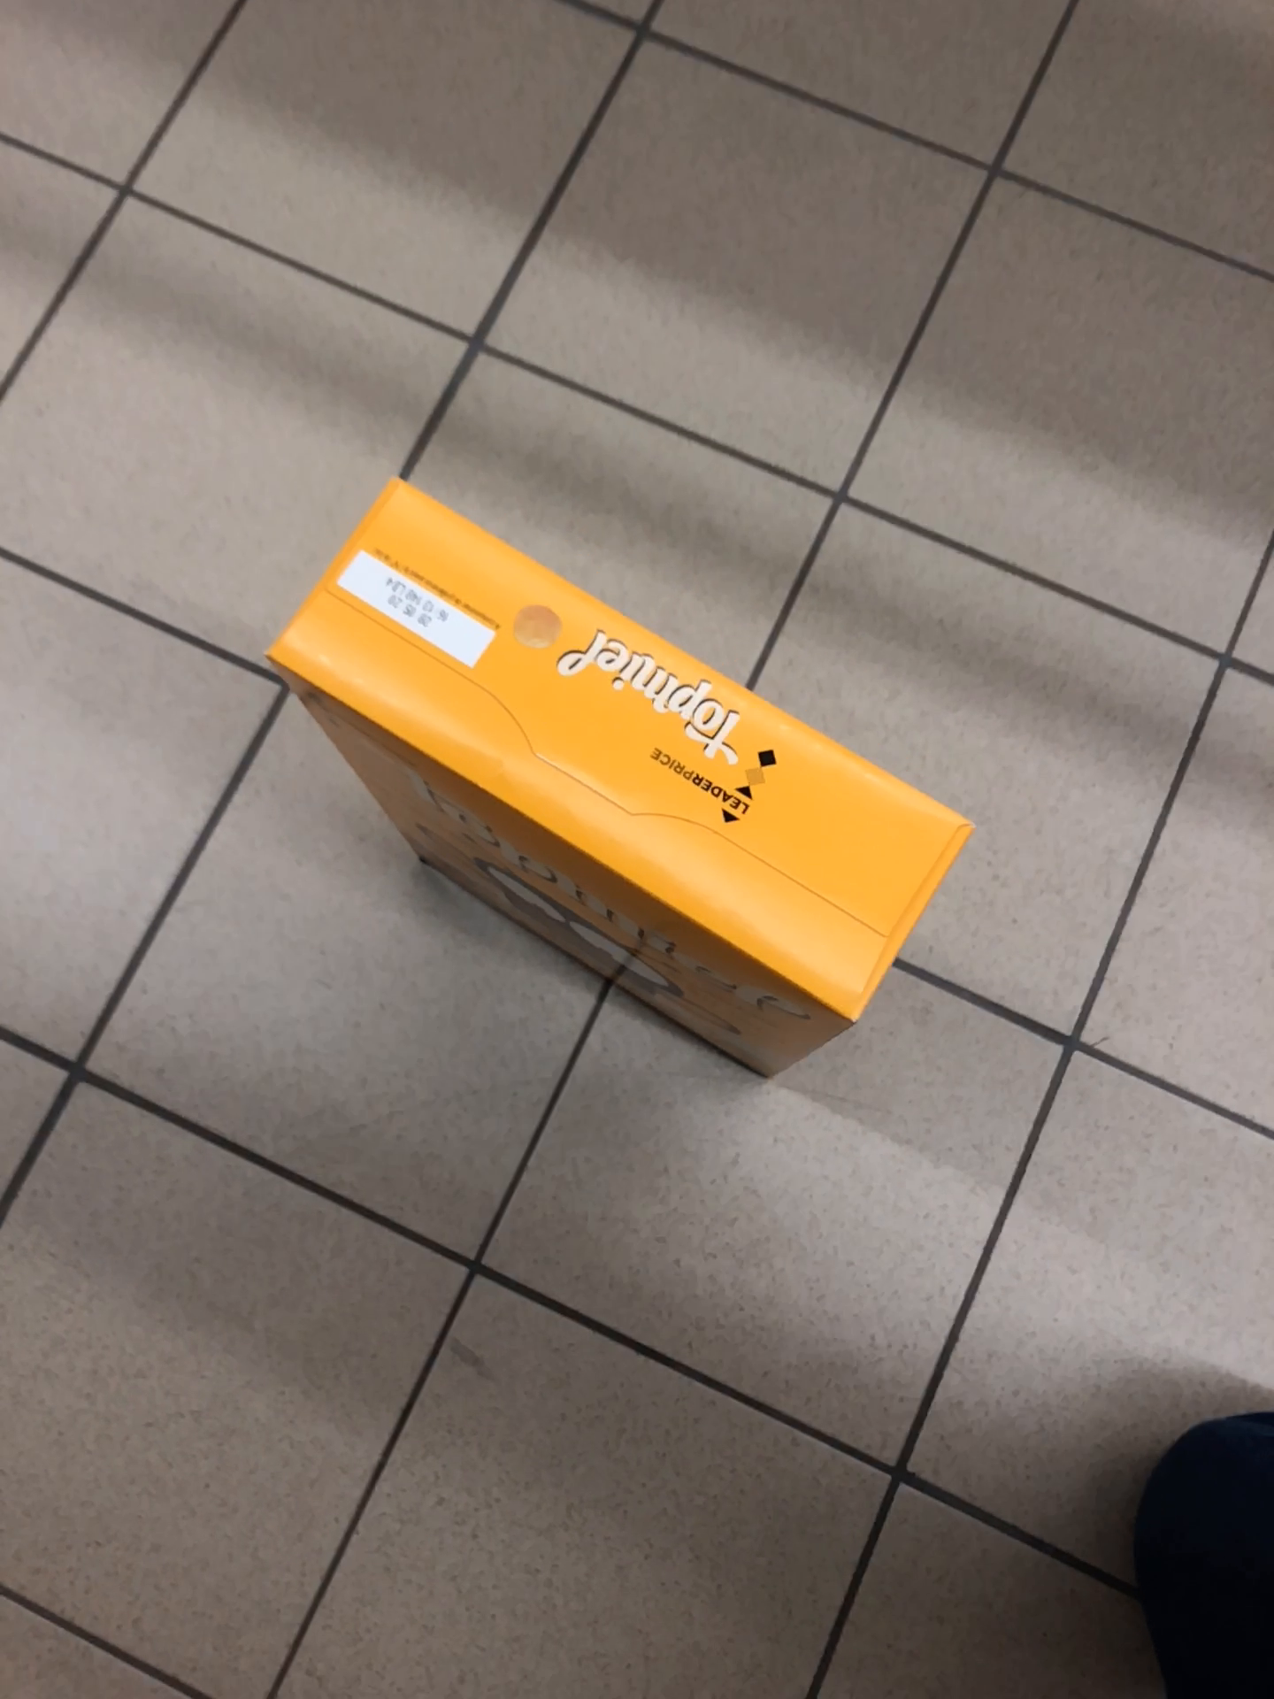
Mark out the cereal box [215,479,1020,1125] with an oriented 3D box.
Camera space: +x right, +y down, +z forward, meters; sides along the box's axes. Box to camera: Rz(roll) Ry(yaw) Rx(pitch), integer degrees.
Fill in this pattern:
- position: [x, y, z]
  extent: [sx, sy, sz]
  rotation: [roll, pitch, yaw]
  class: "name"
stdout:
- position: [-0.006, 0.009, 0.497]
  extent: [0.210, 0.270, 0.060]
  rotation: [32, 79, 7]
  class: "cereal box"
